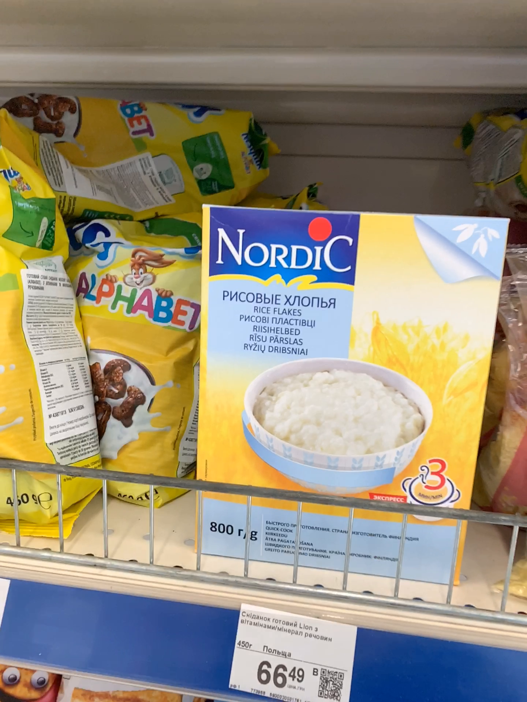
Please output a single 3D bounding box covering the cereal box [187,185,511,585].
[{"bbox_3d":[0.041,0.012,0.317,0.150,0.199,0.080,4,11,8],"label":"cereal box"}]
